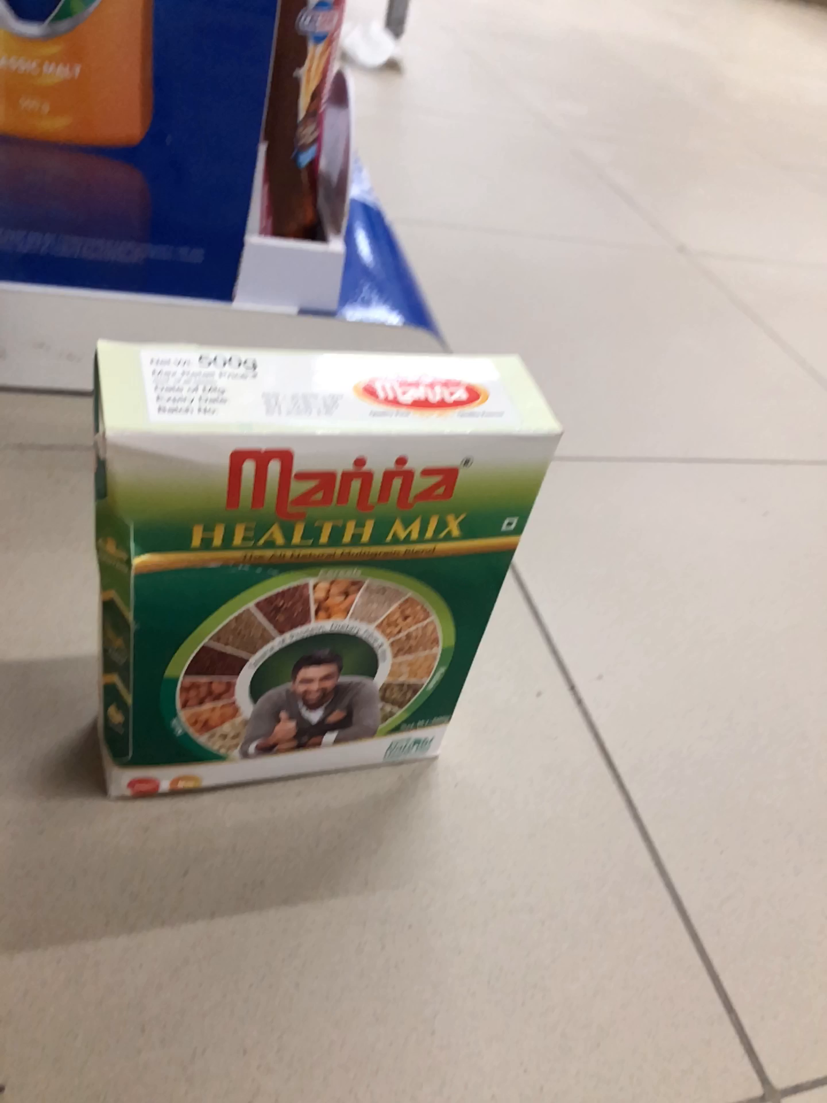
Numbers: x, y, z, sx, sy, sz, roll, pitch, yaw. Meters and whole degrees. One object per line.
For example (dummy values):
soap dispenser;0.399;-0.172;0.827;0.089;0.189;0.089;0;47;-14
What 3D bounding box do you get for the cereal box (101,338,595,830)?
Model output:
cereal box;-0.038;0.019;0.349;0.150;0.189;0.050;-3;42;-22
